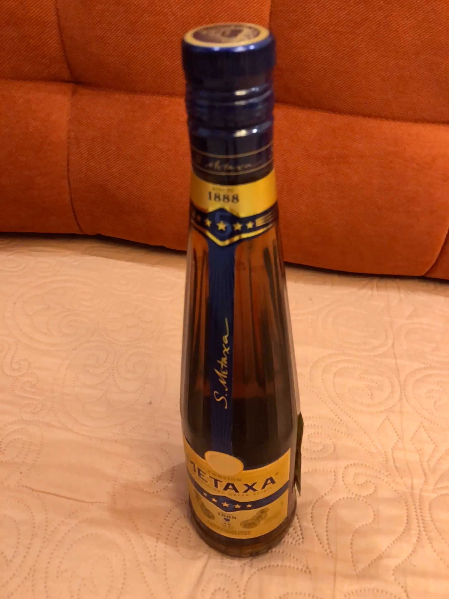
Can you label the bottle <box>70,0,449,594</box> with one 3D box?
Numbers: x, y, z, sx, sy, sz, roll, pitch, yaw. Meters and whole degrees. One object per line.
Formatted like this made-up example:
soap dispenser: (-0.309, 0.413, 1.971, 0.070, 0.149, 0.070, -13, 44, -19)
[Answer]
bottle: (0.015, 0.032, 0.259, 0.100, 0.308, 0.091, 18, 44, 17)
